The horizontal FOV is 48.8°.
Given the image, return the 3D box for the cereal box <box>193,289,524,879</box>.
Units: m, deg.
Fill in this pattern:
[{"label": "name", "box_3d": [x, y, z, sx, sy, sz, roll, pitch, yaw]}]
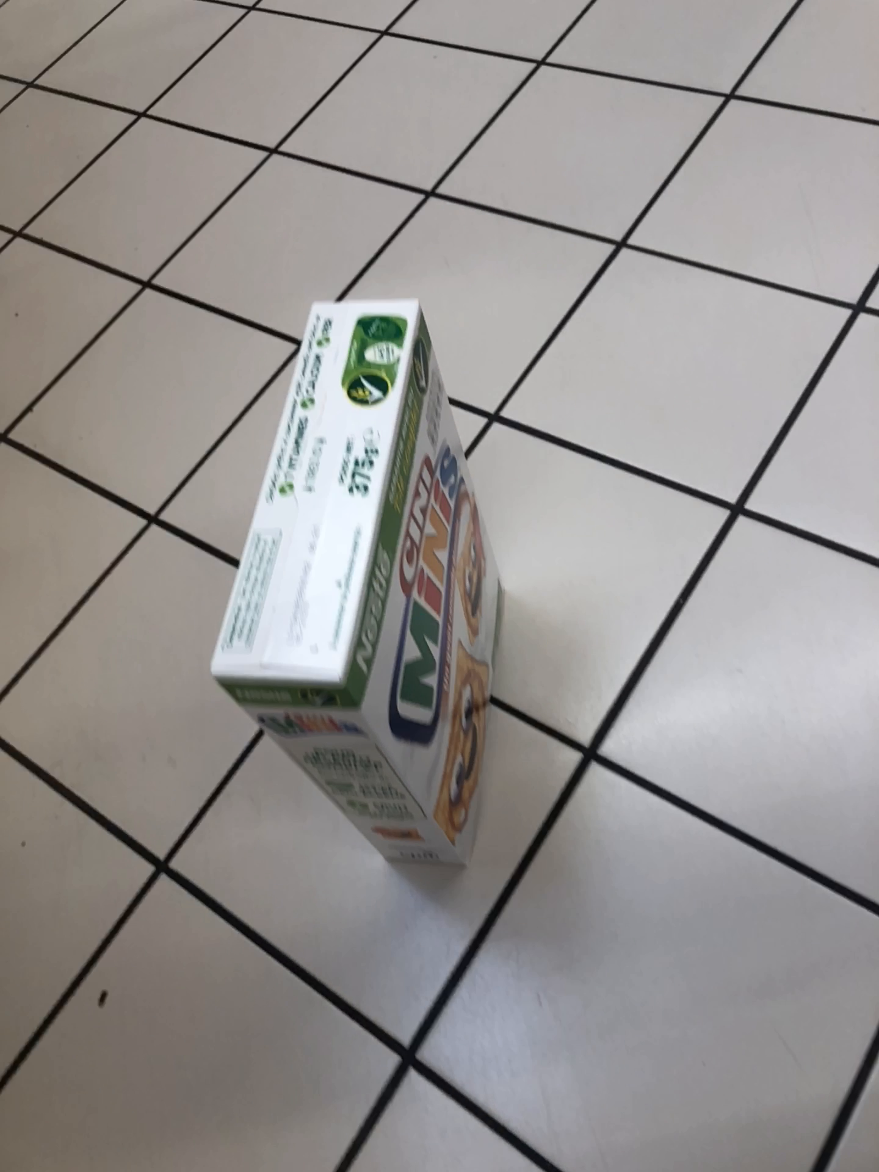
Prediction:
[{"label": "cereal box", "box_3d": [-0.017, 0.019, 0.514, 0.070, 0.269, 0.201, -1, 60, 14]}]
